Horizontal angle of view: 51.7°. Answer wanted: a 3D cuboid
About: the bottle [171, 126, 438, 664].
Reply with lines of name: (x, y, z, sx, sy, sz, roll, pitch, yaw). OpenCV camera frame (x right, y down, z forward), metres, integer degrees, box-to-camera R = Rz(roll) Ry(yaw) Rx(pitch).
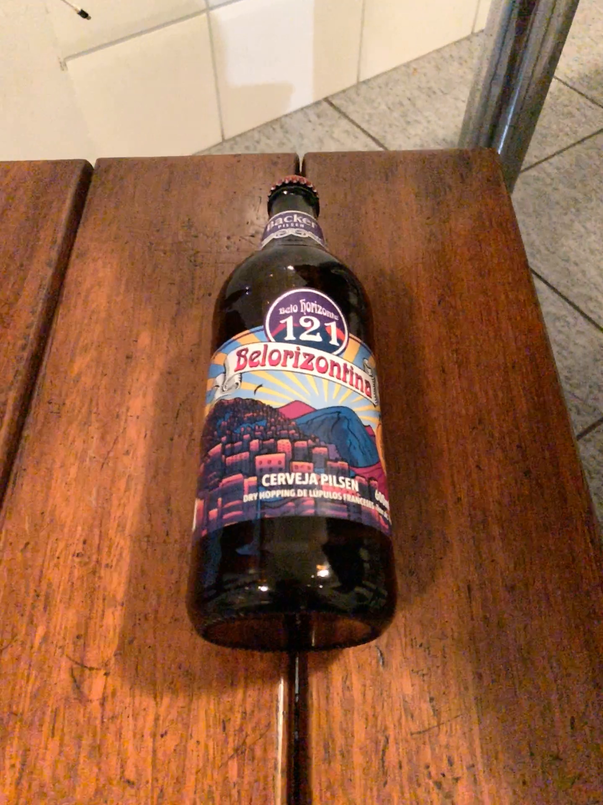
bottle: (-0.005, -0.020, 0.270, 0.080, 0.050, 0.241, 2, 58, -7)
